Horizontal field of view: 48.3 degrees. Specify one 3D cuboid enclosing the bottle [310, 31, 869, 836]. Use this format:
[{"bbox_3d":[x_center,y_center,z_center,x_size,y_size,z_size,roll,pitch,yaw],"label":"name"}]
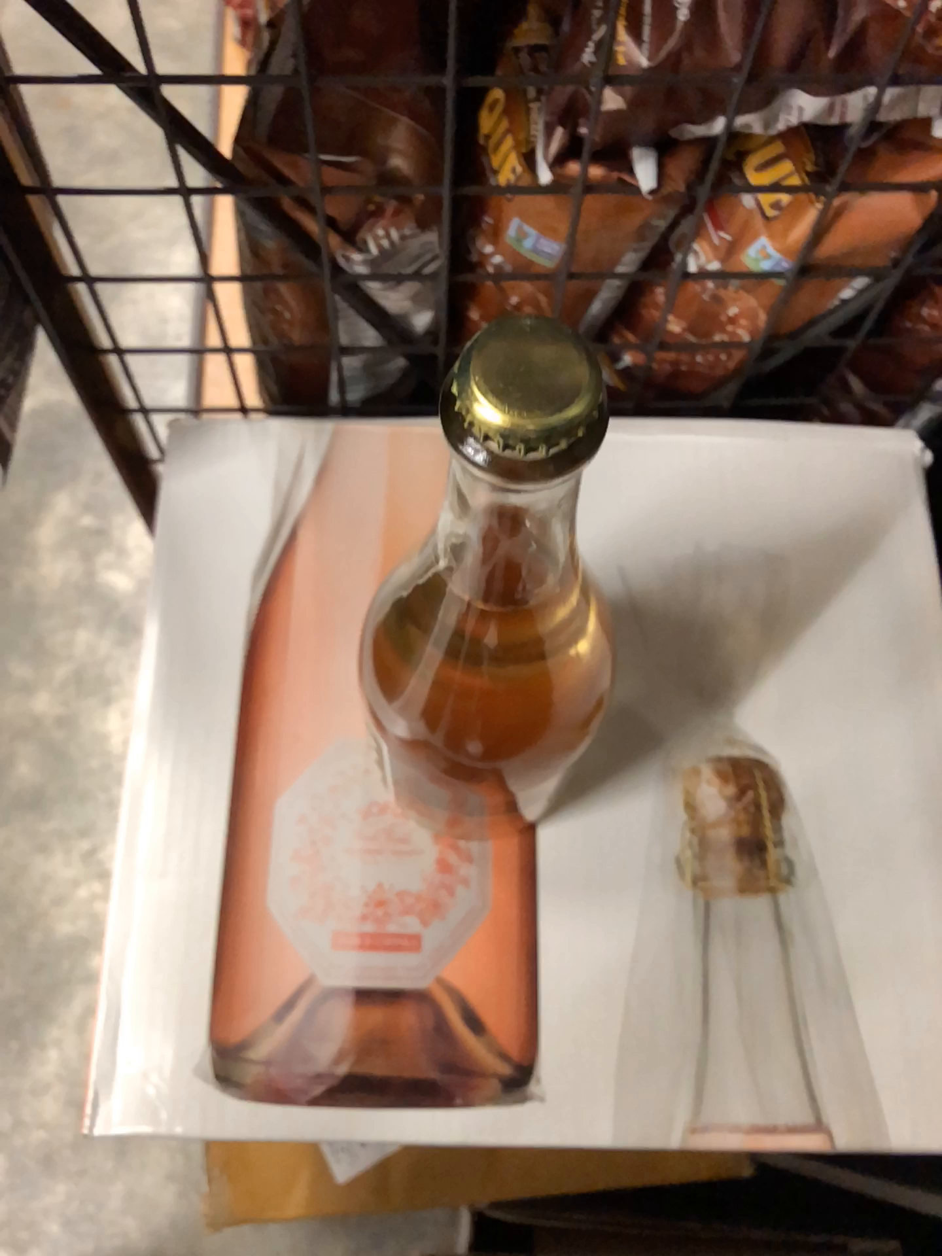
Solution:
[{"bbox_3d":[0.017,-0.015,0.338,0.095,0.305,0.099,1,68,-2],"label":"bottle"}]
